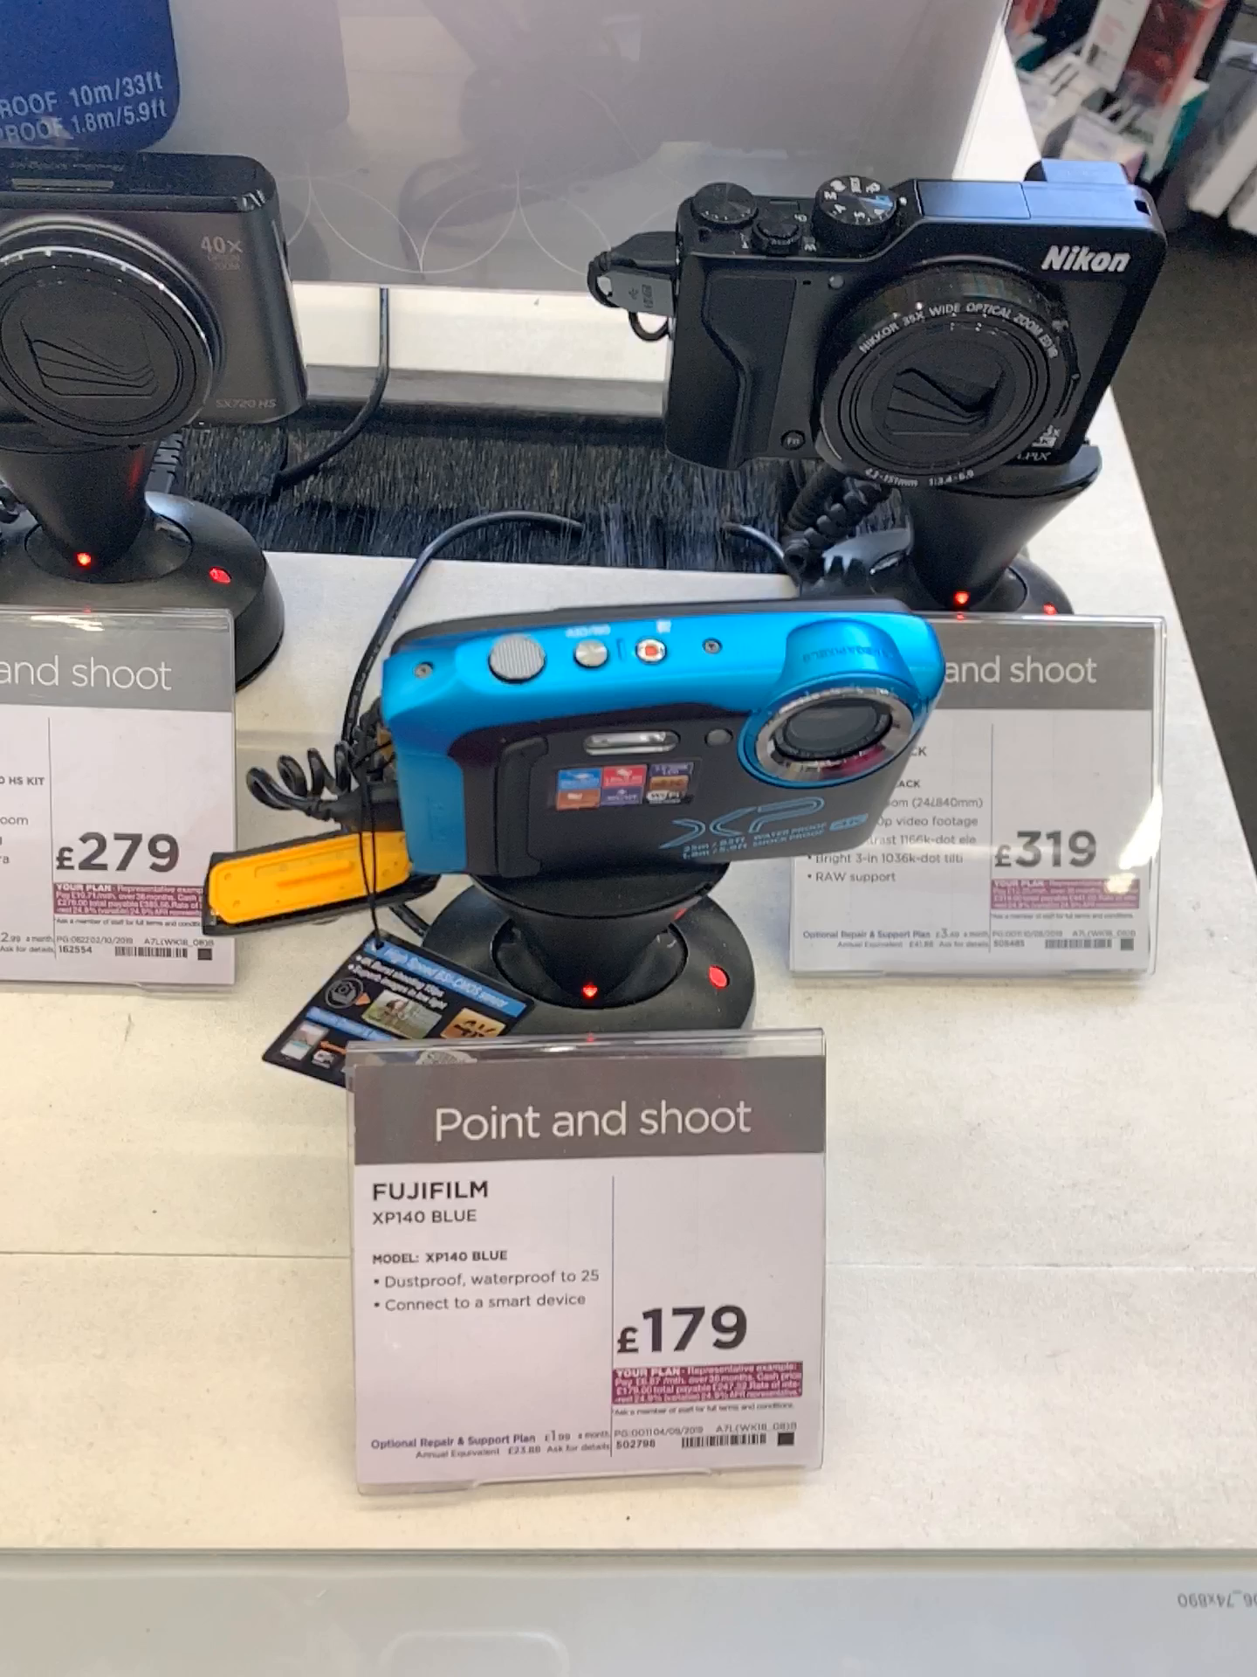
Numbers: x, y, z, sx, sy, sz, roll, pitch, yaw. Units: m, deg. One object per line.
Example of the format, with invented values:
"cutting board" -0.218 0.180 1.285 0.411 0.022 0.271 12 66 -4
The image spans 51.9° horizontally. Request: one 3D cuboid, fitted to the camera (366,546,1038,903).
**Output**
"camera" 0.010 -0.020 0.242 0.110 0.060 0.030 -4 58 -7
